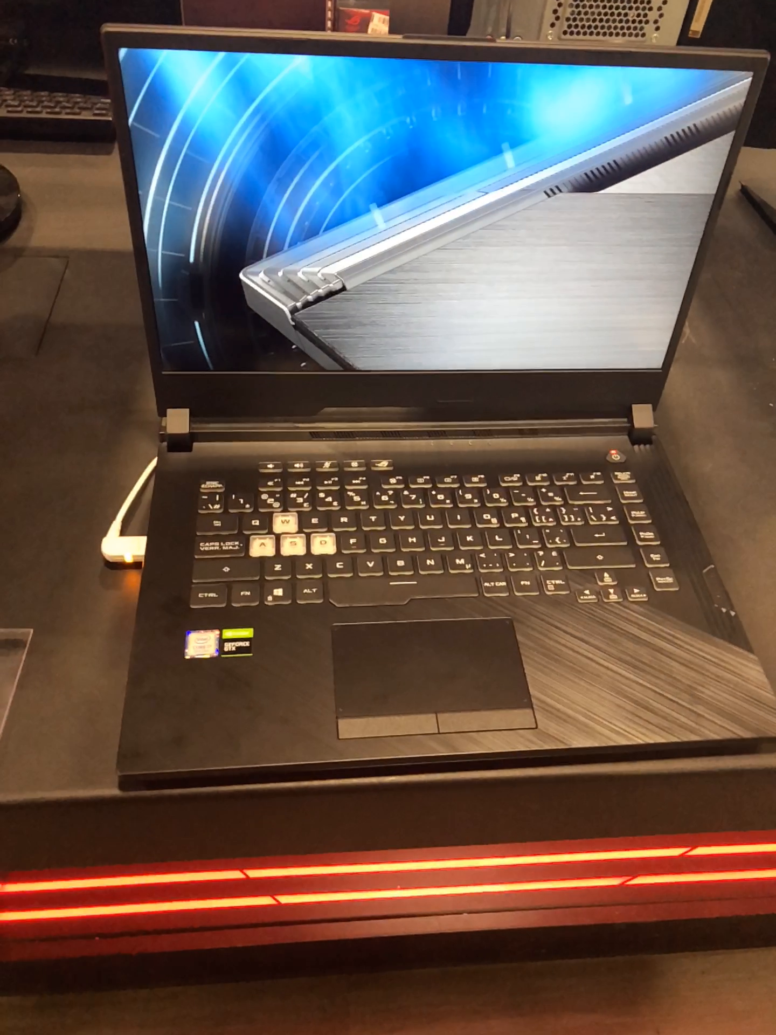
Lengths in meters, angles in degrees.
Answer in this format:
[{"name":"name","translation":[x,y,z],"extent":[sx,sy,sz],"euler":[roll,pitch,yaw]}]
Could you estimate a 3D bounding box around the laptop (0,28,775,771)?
[{"name":"laptop","translation":[0.037,-0.063,0.443],"extent":[0.350,0.243,0.281],"euler":[-1,47,-7]}]
